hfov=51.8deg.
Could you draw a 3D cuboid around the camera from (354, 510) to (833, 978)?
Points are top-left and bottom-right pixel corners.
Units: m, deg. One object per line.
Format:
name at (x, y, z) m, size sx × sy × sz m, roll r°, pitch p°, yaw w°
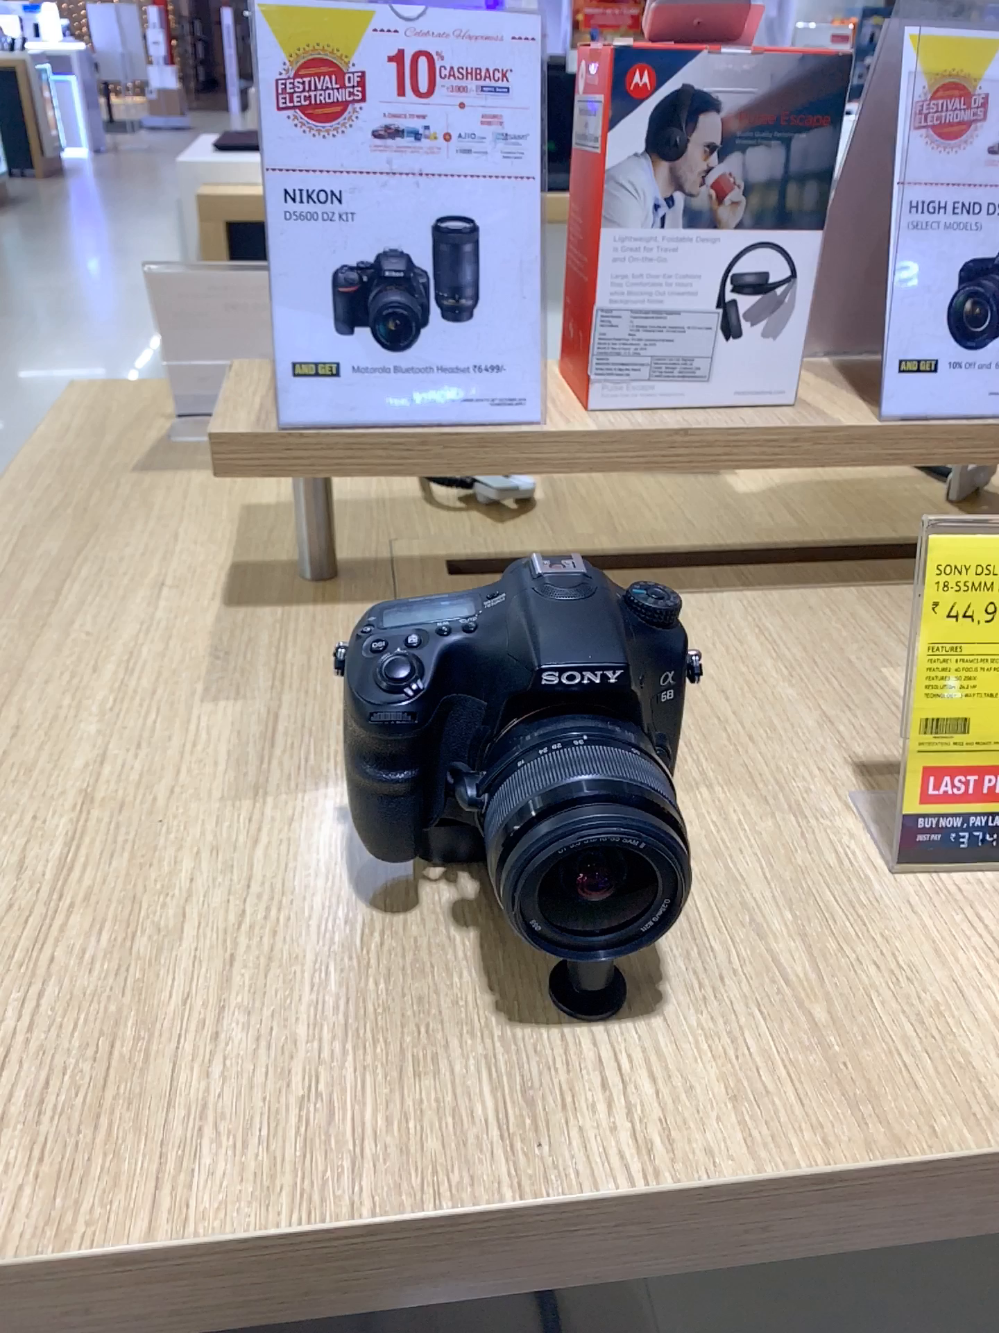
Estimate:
camera at (0.016, 0.013, 0.369) m, size 0.130 × 0.070 × 0.181 m, roll -2°, pitch 31°, yaw -6°
